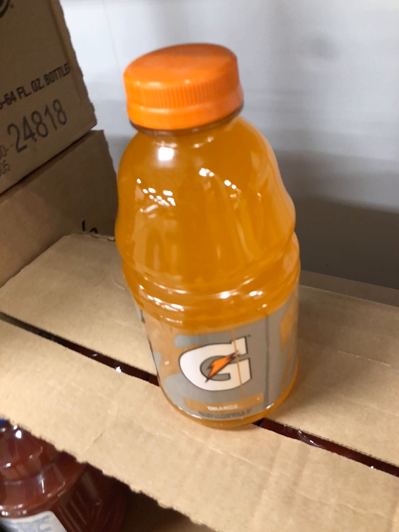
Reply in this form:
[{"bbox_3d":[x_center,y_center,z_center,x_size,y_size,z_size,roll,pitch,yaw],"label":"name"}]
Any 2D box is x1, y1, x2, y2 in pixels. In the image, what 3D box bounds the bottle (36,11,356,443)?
[{"bbox_3d":[0.008,-0.010,0.221,0.092,0.180,0.100,-6,38,5],"label":"bottle"}]
